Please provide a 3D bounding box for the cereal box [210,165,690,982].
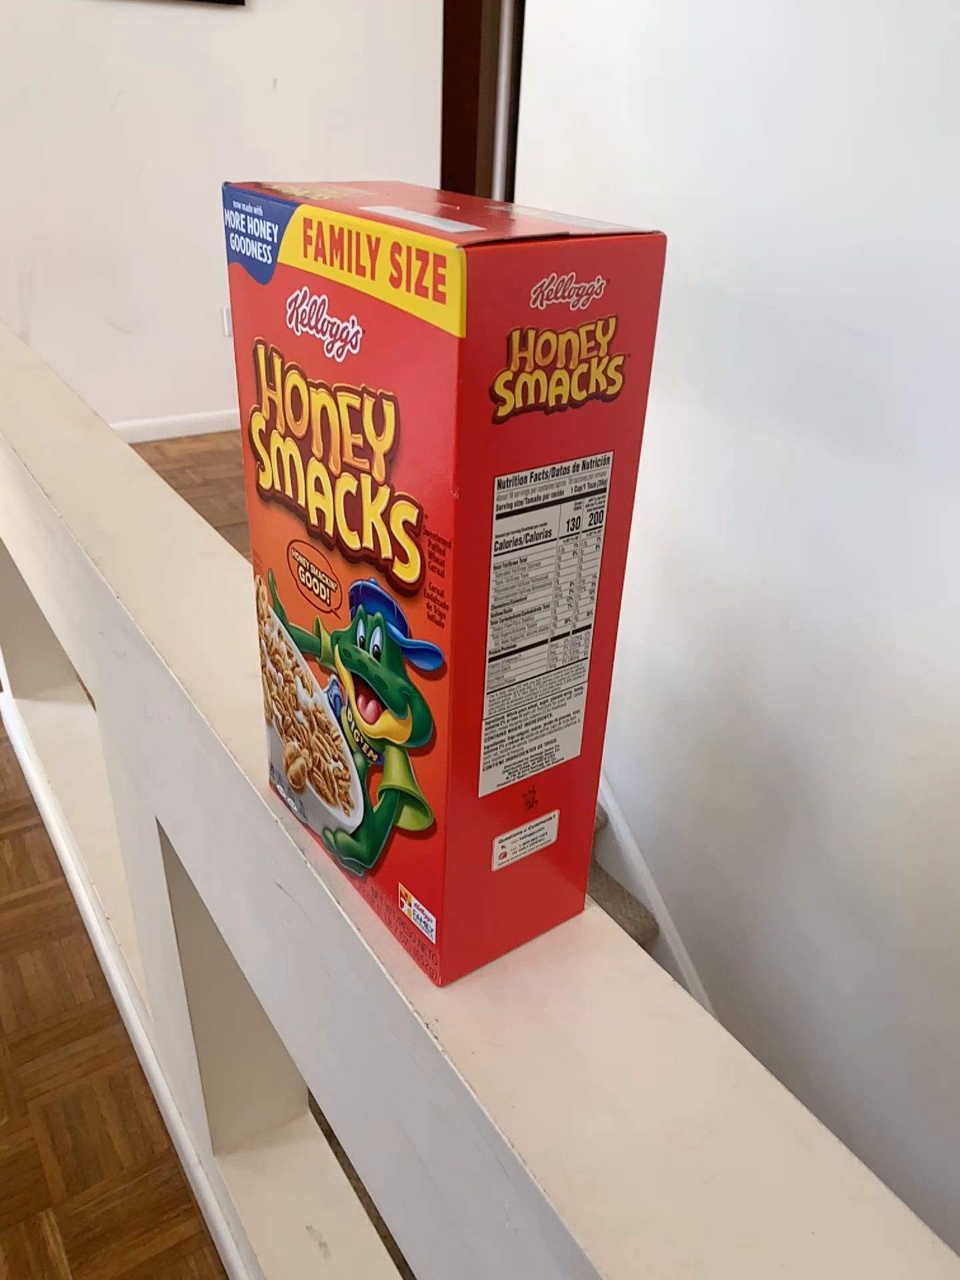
[{"bbox_3d":[-0.032,-0.041,0.491,0.100,0.338,0.211,-17,34,-32],"label":"cereal box"}]
